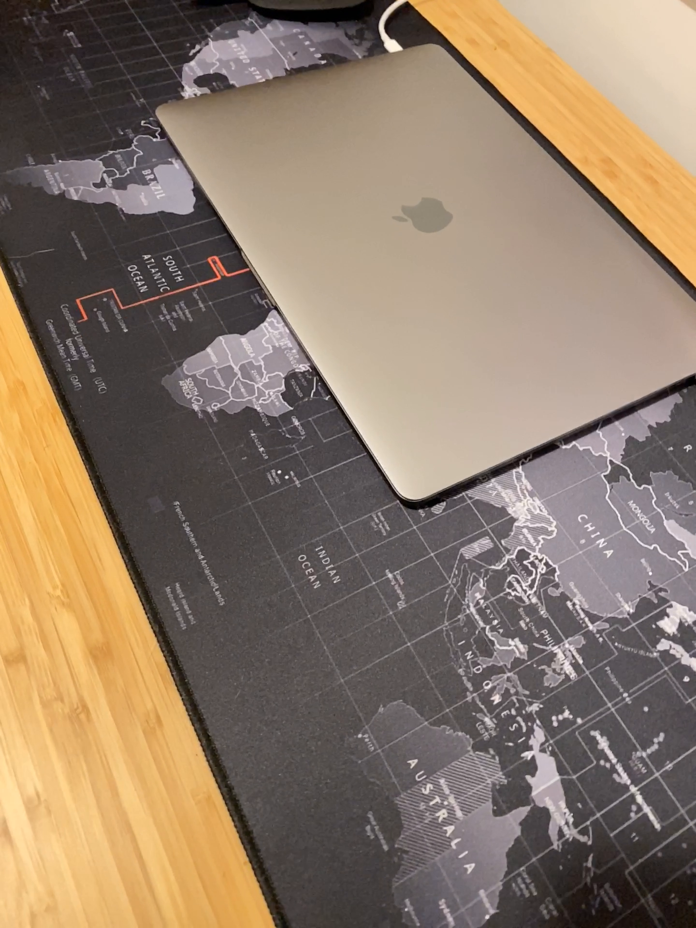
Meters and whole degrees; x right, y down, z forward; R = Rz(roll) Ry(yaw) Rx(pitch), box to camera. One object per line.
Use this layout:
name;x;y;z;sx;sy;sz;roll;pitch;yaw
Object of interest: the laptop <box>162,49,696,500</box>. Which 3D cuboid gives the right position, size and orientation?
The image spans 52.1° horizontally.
laptop;0.047;-0.156;0.456;0.226;0.002;0.336;-23;63;-18
